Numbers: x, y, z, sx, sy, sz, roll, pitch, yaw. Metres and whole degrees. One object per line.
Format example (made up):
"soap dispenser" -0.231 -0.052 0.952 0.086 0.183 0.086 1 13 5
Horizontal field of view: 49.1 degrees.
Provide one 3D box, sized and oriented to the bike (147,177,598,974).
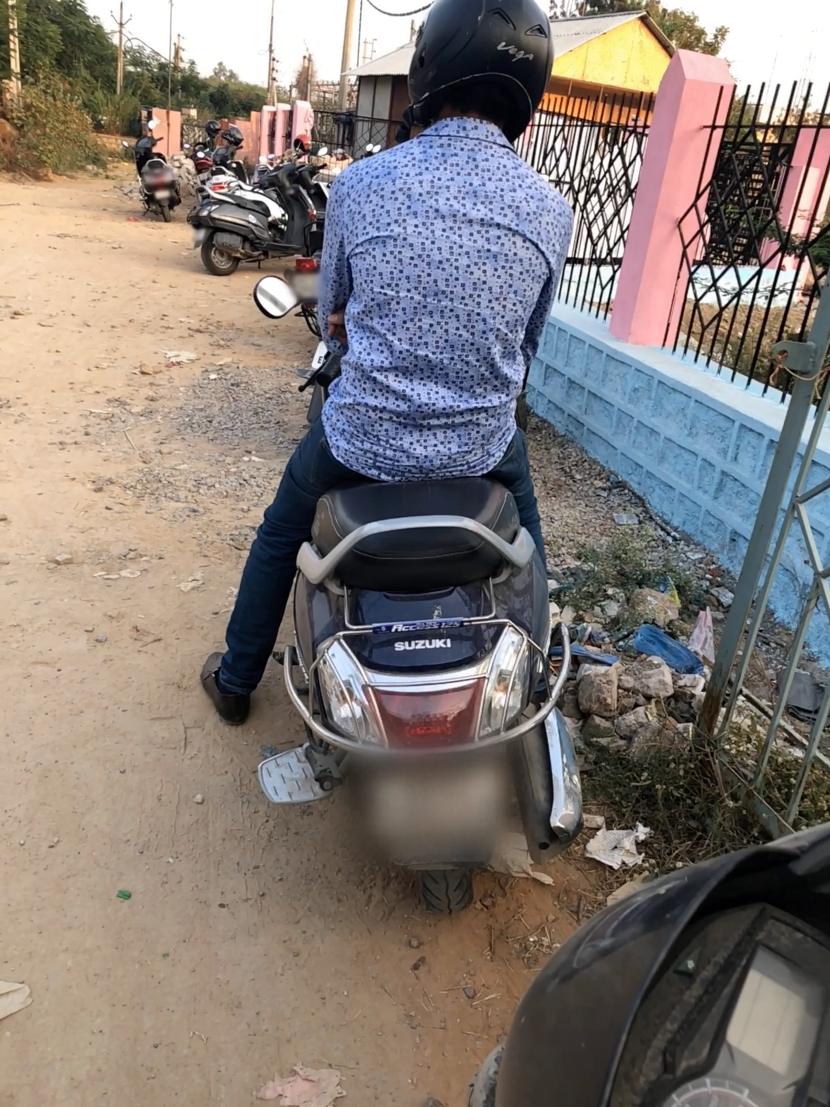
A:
"bike" -0.266 -0.114 2.003 0.593 1.013 1.400 2 29 -13
